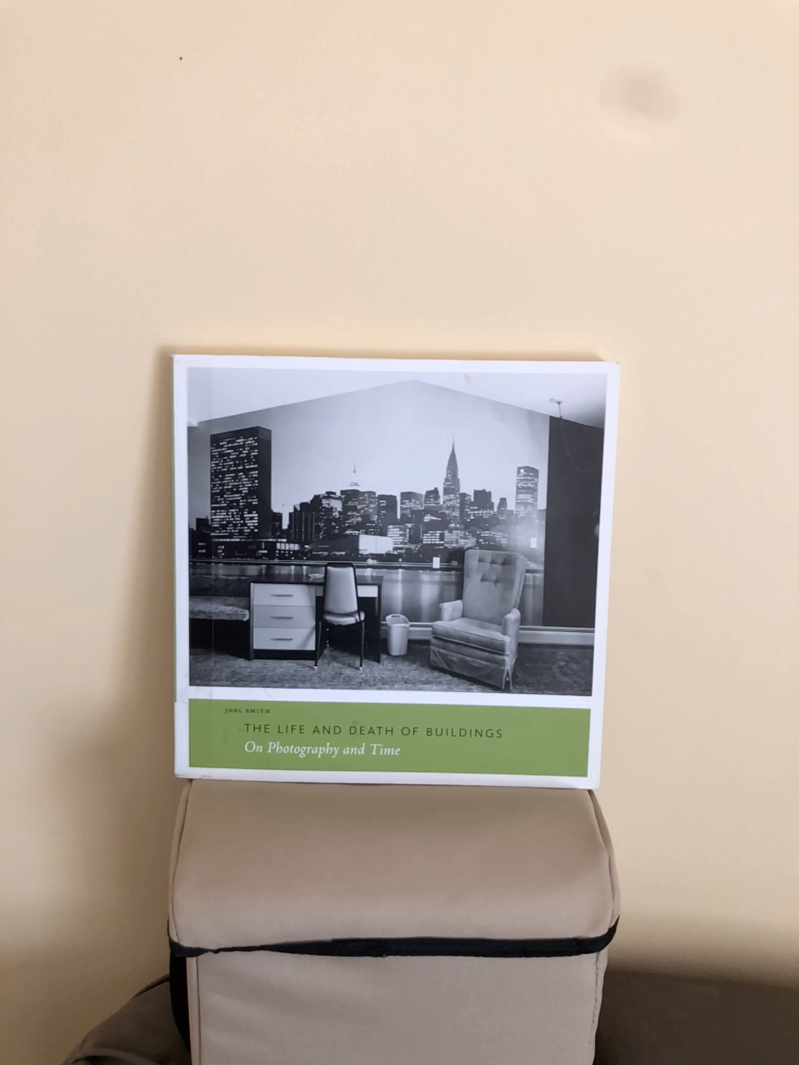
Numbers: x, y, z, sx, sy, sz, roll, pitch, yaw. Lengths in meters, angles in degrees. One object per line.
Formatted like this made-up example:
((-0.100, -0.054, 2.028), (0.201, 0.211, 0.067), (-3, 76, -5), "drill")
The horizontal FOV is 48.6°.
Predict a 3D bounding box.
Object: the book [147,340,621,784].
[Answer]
((-0.009, 0.017, 0.426), (0.216, 0.204, 0.020), (2, 6, -3), "book")
